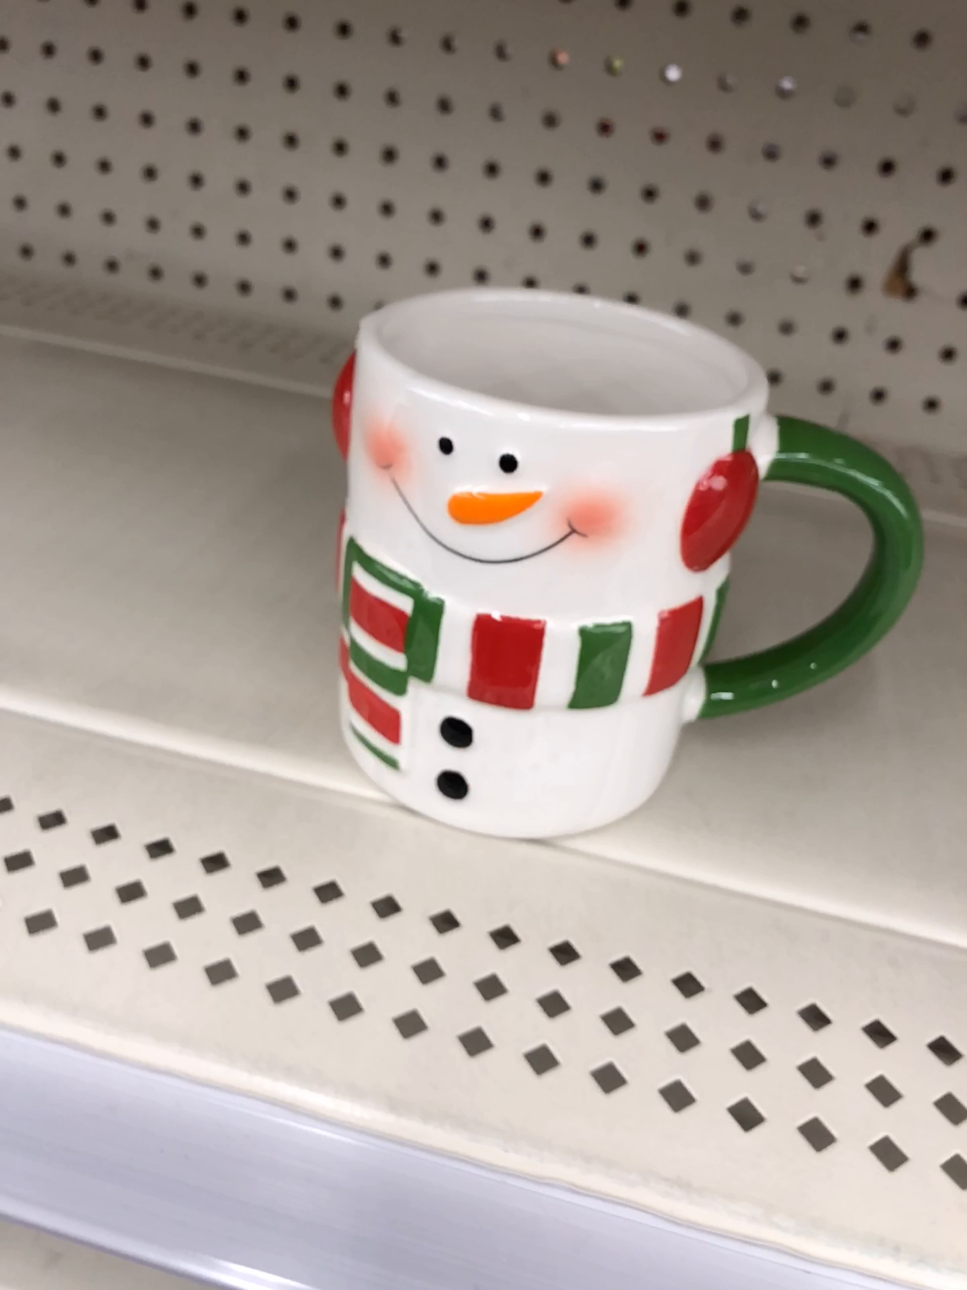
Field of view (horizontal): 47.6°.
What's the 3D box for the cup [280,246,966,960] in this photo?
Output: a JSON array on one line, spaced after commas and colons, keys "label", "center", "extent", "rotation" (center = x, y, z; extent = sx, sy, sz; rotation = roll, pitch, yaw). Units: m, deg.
[{"label": "cup", "center": [0.032, -0.014, 0.247], "extent": [0.130, 0.110, 0.090], "rotation": [10, 33, 4]}]
